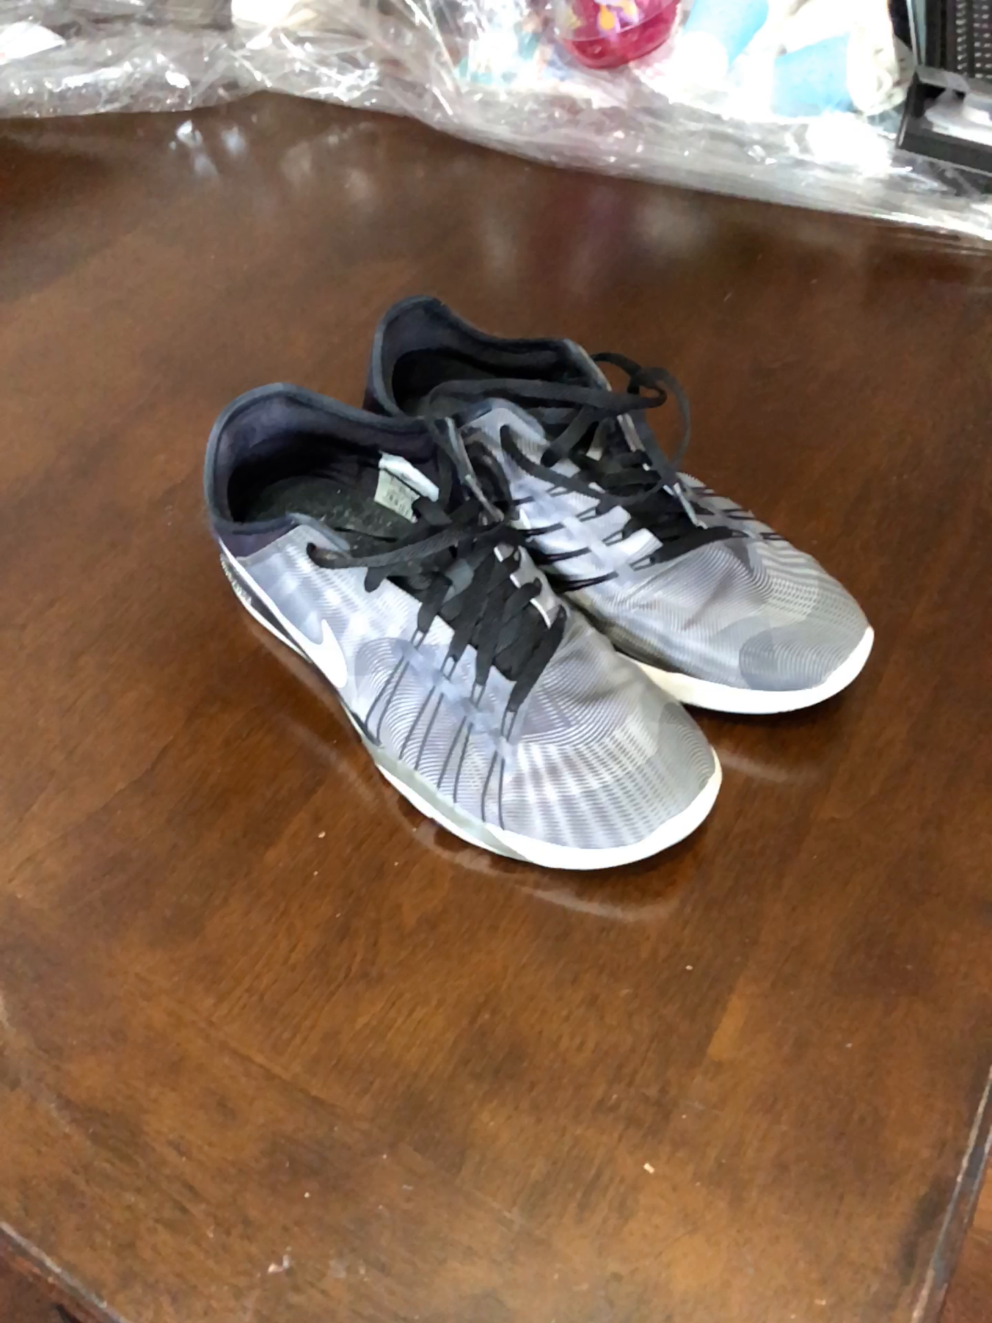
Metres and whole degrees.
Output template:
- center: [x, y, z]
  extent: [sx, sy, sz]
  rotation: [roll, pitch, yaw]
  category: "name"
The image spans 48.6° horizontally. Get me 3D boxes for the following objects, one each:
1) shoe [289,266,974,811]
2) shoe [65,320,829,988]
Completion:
- center: [0.042, -0.058, 0.427]
  extent: [0.230, 0.080, 0.100]
  rotation: [32, 59, 26]
  category: "shoe"
- center: [-0.023, -0.015, 0.375]
  extent: [0.230, 0.090, 0.100]
  rotation: [32, 59, 26]
  category: "shoe"
